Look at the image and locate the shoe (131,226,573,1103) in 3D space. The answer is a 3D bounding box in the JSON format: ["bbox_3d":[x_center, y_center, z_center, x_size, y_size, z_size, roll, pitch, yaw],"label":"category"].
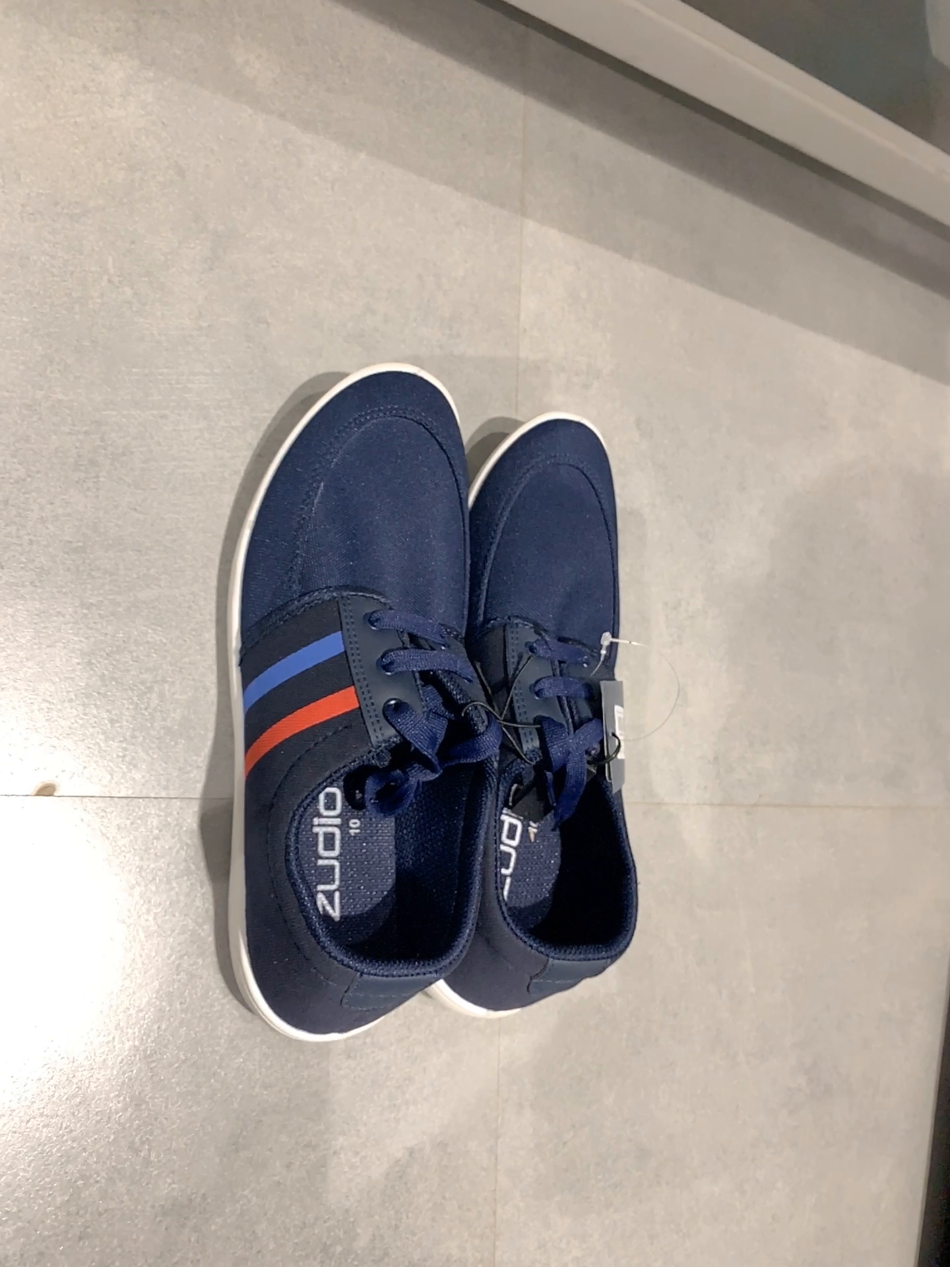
[{"bbox_3d":[-0.048,0.014,0.415,0.120,0.100,0.310,12,78,-33],"label":"shoe"}]

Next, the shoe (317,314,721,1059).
[{"bbox_3d":[0.026,0.028,0.472,0.120,0.100,0.310,16,76,-32],"label":"shoe"}]
